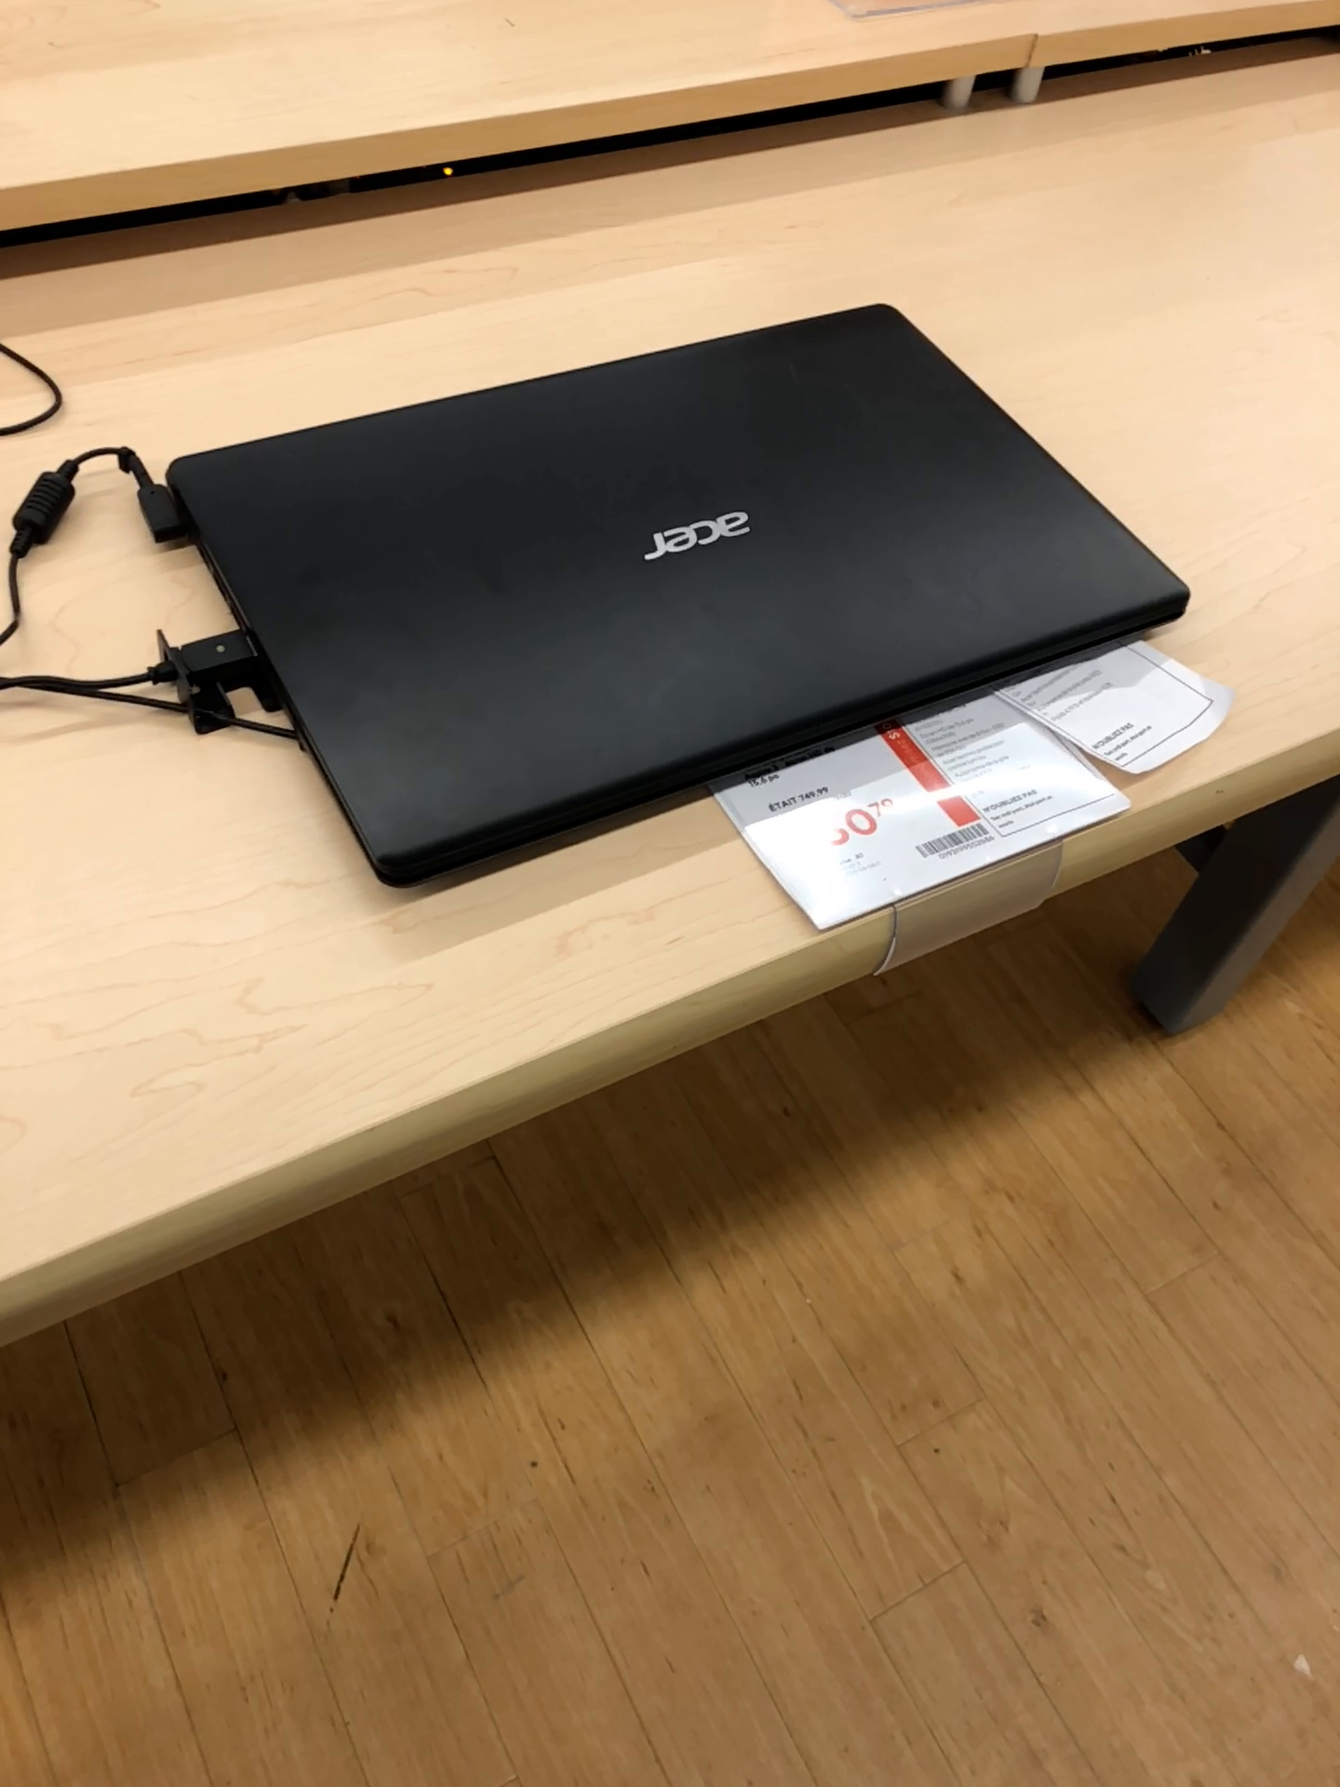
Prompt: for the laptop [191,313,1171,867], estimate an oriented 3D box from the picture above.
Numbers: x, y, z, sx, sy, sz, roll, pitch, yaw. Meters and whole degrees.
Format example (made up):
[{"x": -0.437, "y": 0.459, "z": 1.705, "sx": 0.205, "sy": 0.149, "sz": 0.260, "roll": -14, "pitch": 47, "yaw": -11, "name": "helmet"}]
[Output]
[{"x": 0.010, "y": -0.146, "z": 0.597, "sx": 0.347, "sy": 0.003, "sz": 0.212, "roll": -21, "pitch": 59, "yaw": -23, "name": "laptop"}]
